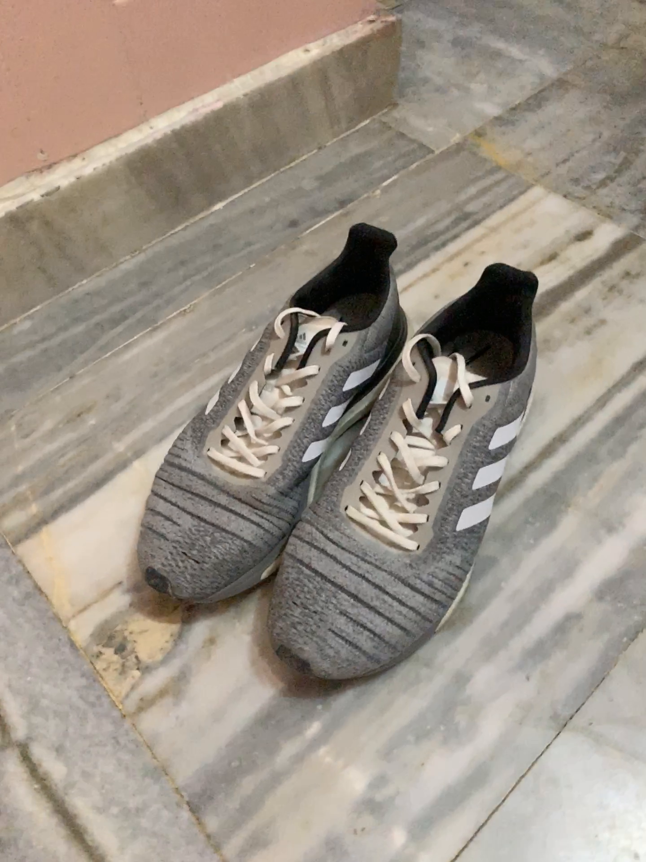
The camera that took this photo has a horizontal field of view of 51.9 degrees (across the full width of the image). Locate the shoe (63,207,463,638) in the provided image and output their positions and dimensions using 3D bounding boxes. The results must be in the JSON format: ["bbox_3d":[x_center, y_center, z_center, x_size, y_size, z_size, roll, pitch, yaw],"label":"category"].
[{"bbox_3d":[-0.021,-0.026,0.472,0.110,0.080,0.309,25,59,20],"label":"shoe"}]

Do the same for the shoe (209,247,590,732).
[{"bbox_3d":[0.065,0.017,0.442,0.120,0.090,0.299,22,58,18],"label":"shoe"}]
